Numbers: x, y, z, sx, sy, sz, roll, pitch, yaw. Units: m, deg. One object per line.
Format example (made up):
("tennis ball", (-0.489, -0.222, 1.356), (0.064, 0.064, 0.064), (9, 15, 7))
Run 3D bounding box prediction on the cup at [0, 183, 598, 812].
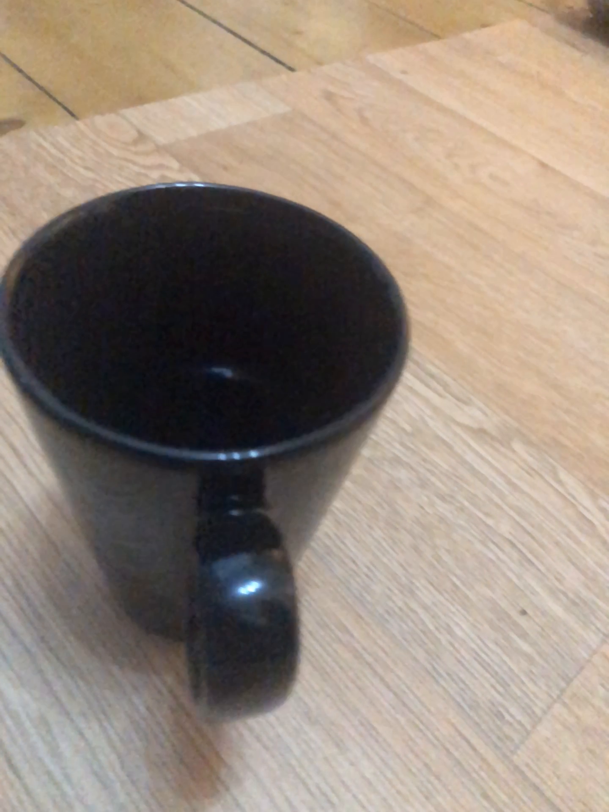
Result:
("cup", (-0.017, 0.020, 0.163), (0.090, 0.089, 0.121), (-3, 49, -13))
